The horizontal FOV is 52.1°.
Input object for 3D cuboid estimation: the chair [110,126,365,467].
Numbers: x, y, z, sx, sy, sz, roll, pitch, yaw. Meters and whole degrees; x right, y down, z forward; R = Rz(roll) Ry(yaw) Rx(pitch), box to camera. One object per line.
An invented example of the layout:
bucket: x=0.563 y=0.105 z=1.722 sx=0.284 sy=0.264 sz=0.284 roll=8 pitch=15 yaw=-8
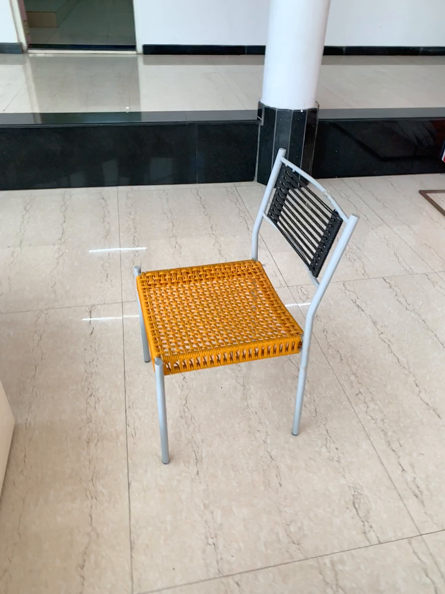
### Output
chair: x=-0.016 y=-0.010 z=1.358 sx=0.510 sy=0.803 sz=0.524 roll=-7 pitch=37 yaw=-12
